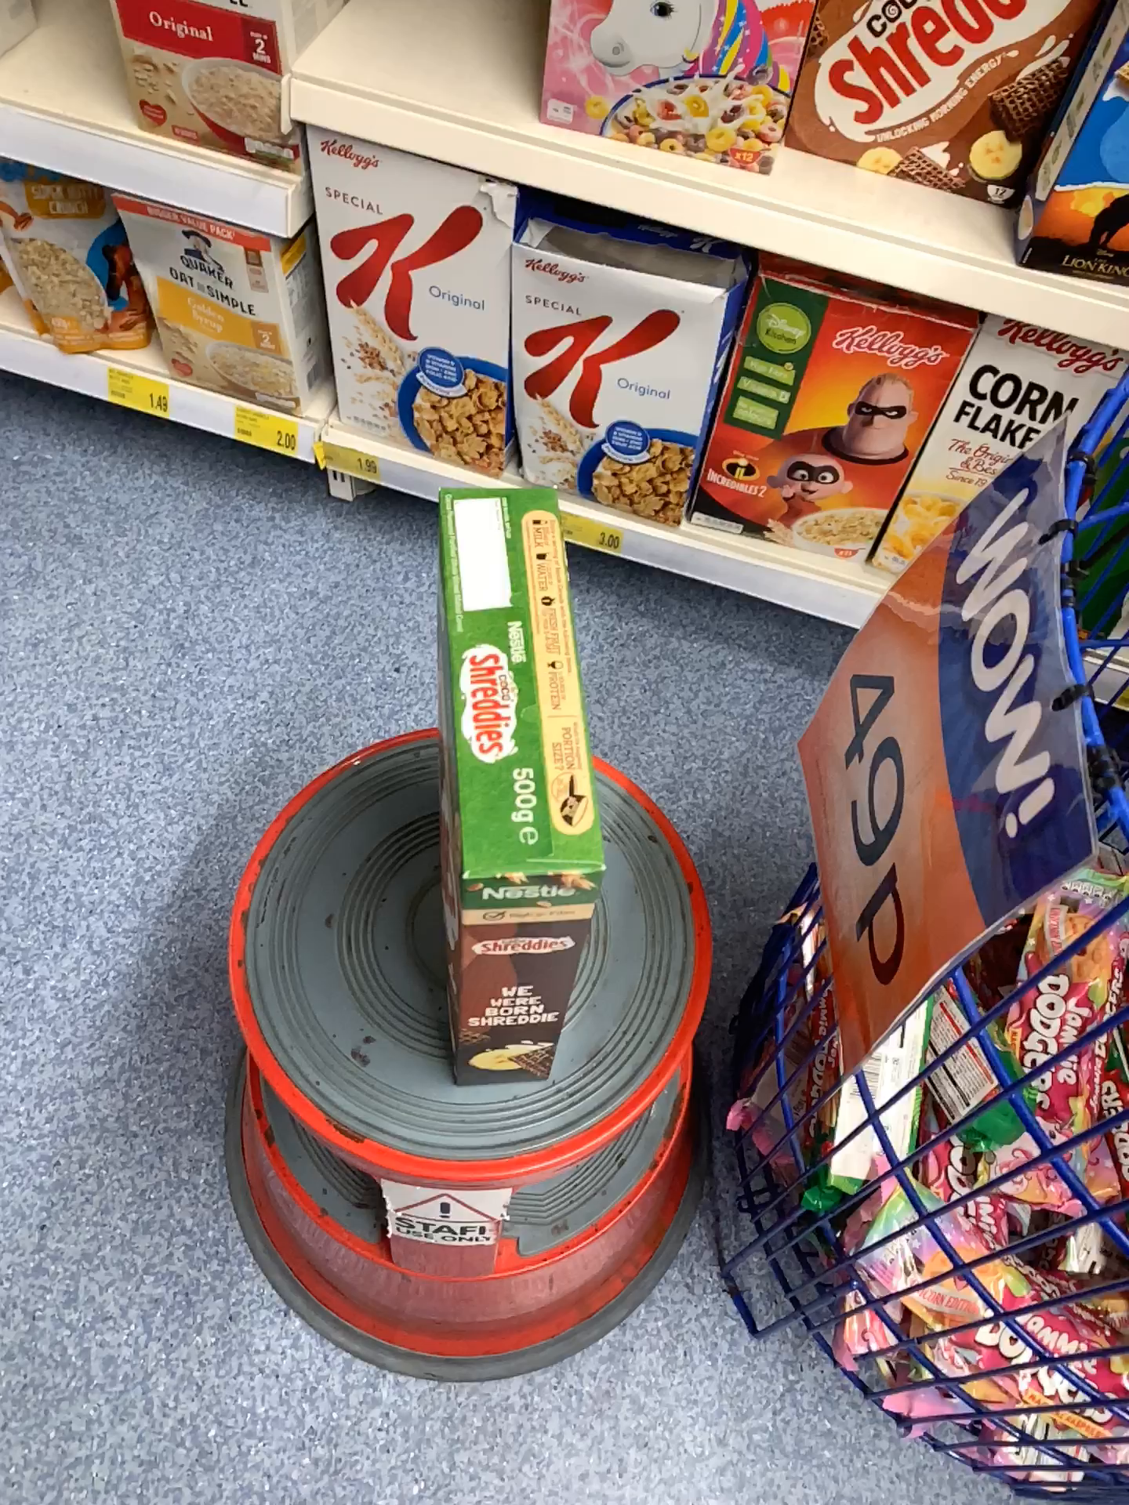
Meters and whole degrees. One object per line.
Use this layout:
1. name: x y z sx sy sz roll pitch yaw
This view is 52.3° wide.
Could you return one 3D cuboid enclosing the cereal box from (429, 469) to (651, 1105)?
1. cereal box: -0.026 0.034 0.567 0.070 0.278 0.201 -2 59 -7
